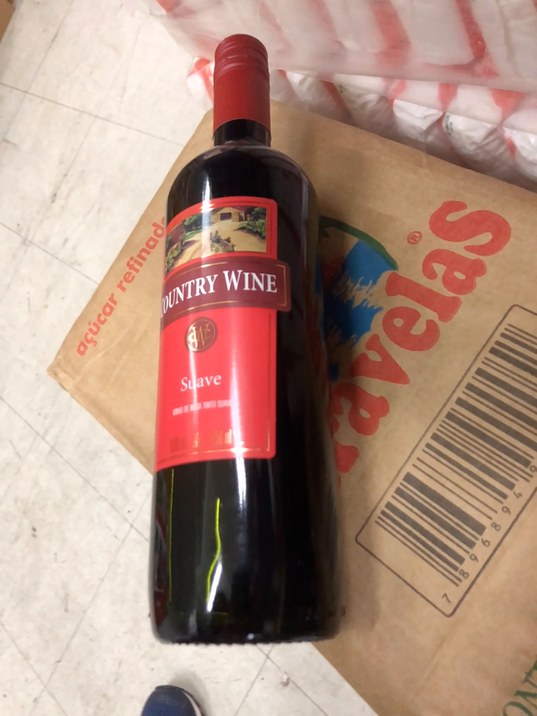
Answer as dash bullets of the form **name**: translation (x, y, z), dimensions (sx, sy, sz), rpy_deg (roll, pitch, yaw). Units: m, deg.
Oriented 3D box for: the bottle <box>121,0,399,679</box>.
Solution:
- **bottle**: translation (-0.012, -0.031, 0.257), dimensions (0.080, 0.060, 0.290), rpy_deg (-14, 69, 28)
